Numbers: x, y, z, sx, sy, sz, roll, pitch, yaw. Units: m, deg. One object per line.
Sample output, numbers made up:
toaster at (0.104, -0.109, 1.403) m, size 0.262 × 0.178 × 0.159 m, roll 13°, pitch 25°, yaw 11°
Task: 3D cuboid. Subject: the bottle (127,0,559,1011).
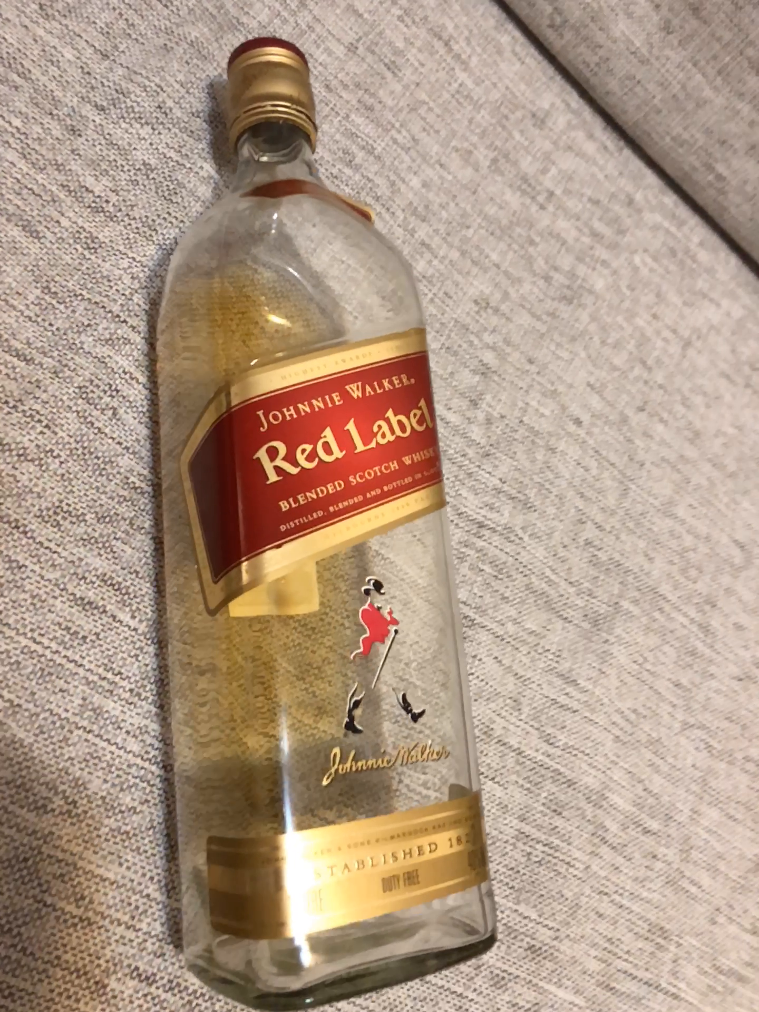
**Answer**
bottle at (-0.020, -0.026, 0.264) m, size 0.090 × 0.070 × 0.310 m, roll 3°, pitch 76°, yaw -33°
